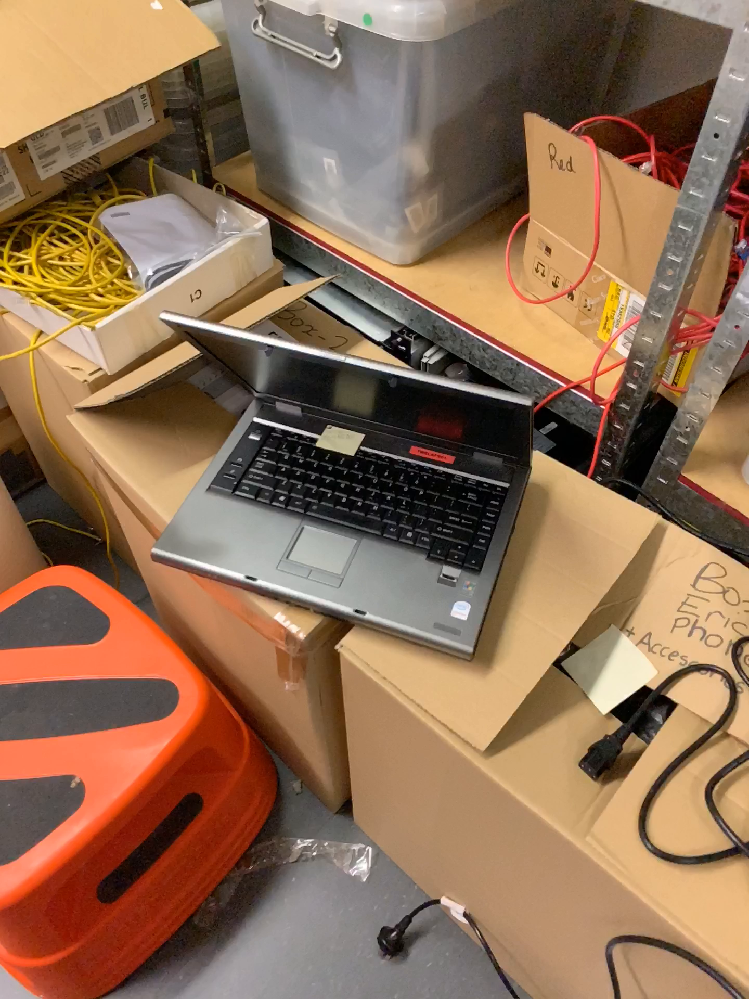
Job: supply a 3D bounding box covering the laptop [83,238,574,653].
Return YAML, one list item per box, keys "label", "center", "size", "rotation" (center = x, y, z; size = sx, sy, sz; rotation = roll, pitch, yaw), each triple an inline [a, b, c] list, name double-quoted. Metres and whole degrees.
- label: "laptop"
  center: [-0.029, -0.064, 0.762]
  size: [0.360, 0.238, 0.263]
  rotation: [15, 51, 13]
